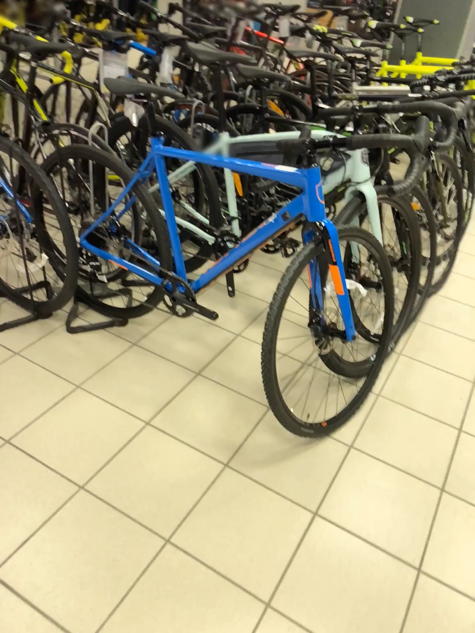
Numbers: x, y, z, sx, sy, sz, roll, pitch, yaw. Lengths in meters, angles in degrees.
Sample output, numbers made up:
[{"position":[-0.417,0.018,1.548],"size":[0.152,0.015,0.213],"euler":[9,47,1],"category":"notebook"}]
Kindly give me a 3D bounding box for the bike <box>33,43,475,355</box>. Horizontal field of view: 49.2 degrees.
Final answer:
[{"position":[0.076,-0.528,2.198],"size":[1.421,0.870,0.619],"euler":[16,35,11],"category":"bike"}]

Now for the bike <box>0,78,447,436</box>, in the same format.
[{"position":[-0.102,-0.248,2.006],"size":[1.469,0.806,0.527],"euler":[19,36,9],"category":"bike"}]
